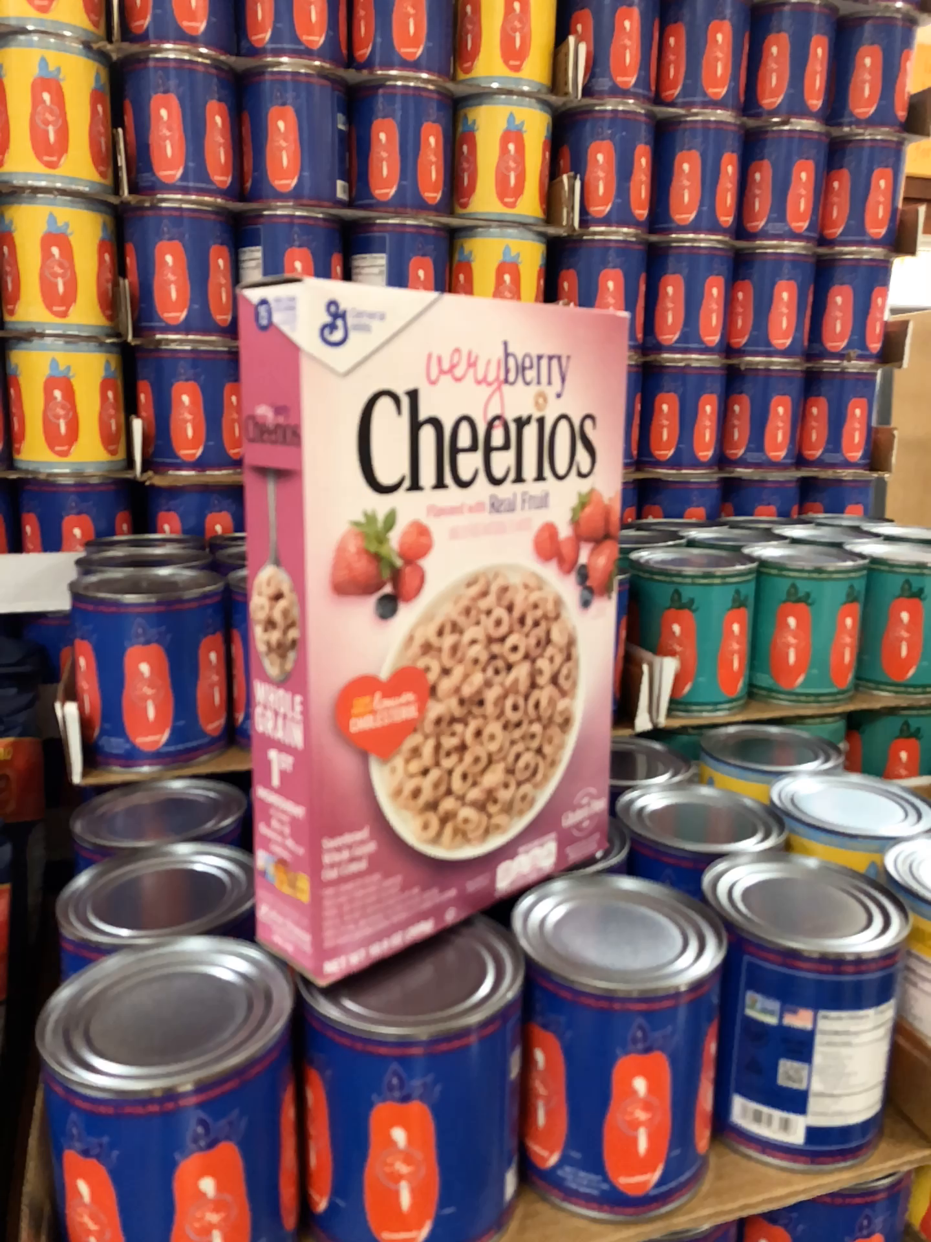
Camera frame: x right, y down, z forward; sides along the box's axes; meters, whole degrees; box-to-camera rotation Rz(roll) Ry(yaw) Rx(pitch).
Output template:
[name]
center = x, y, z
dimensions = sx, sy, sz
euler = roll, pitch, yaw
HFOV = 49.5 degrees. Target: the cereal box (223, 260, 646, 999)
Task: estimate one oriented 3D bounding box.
[cereal box]
center = -0.007, -0.006, 0.476
dimensions = 0.060, 0.289, 0.201
euler = 13, 17, 43
